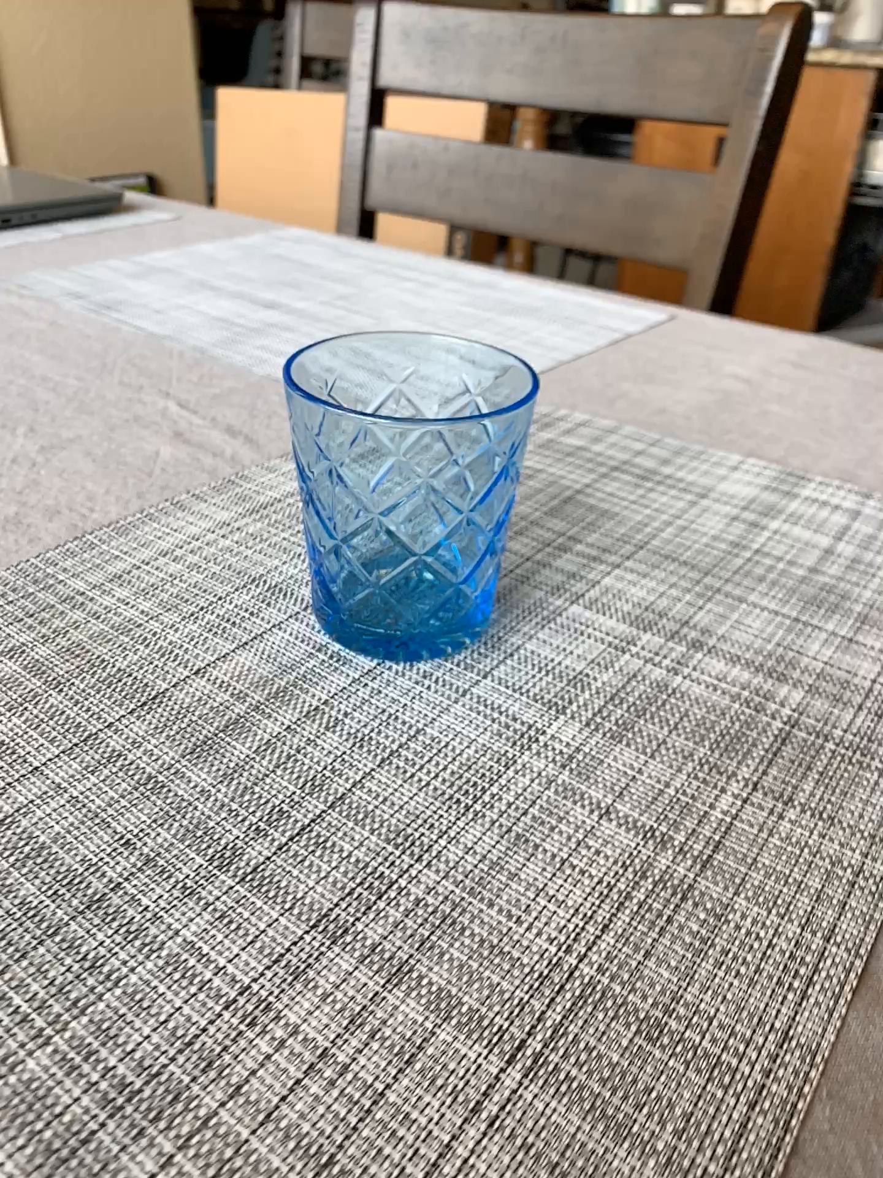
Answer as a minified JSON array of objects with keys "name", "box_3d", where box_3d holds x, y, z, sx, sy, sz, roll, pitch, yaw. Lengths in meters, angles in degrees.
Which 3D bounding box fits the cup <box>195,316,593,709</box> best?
[{"name":"cup","box_3d":[-0.015,-0.033,0.316,0.088,0.085,0.093,2,32,-1]}]
